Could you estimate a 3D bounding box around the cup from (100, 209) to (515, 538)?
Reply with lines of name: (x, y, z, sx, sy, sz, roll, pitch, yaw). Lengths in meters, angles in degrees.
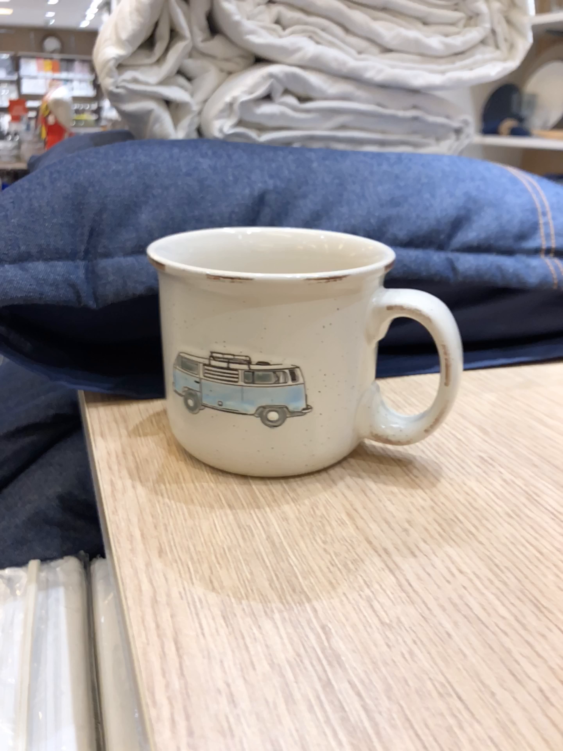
cup: (0.016, -0.014, 0.268, 0.140, 0.089, 0.101, 9, 23, 20)
